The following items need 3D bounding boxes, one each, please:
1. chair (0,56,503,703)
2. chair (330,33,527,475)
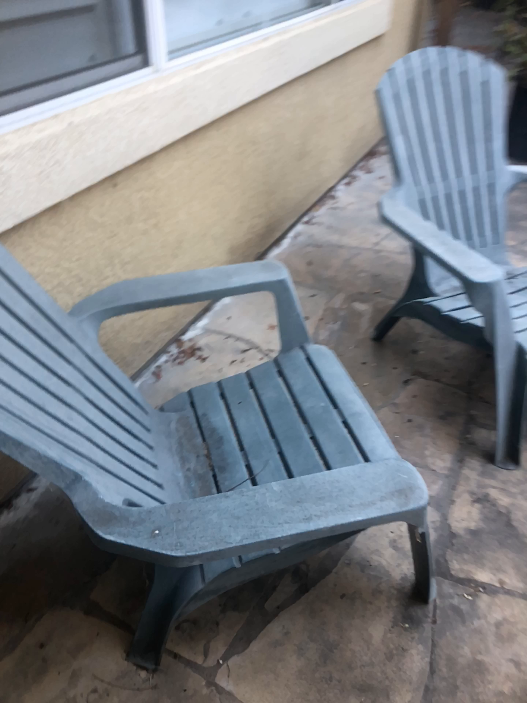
[{"bbox_3d":[-0.255,0.265,1.105,0.912,1.220,0.744,-18,40,-11],"label":"chair"},{"bbox_3d":[0.760,-0.374,1.730,0.692,0.883,0.924,-18,38,-22],"label":"chair"}]
